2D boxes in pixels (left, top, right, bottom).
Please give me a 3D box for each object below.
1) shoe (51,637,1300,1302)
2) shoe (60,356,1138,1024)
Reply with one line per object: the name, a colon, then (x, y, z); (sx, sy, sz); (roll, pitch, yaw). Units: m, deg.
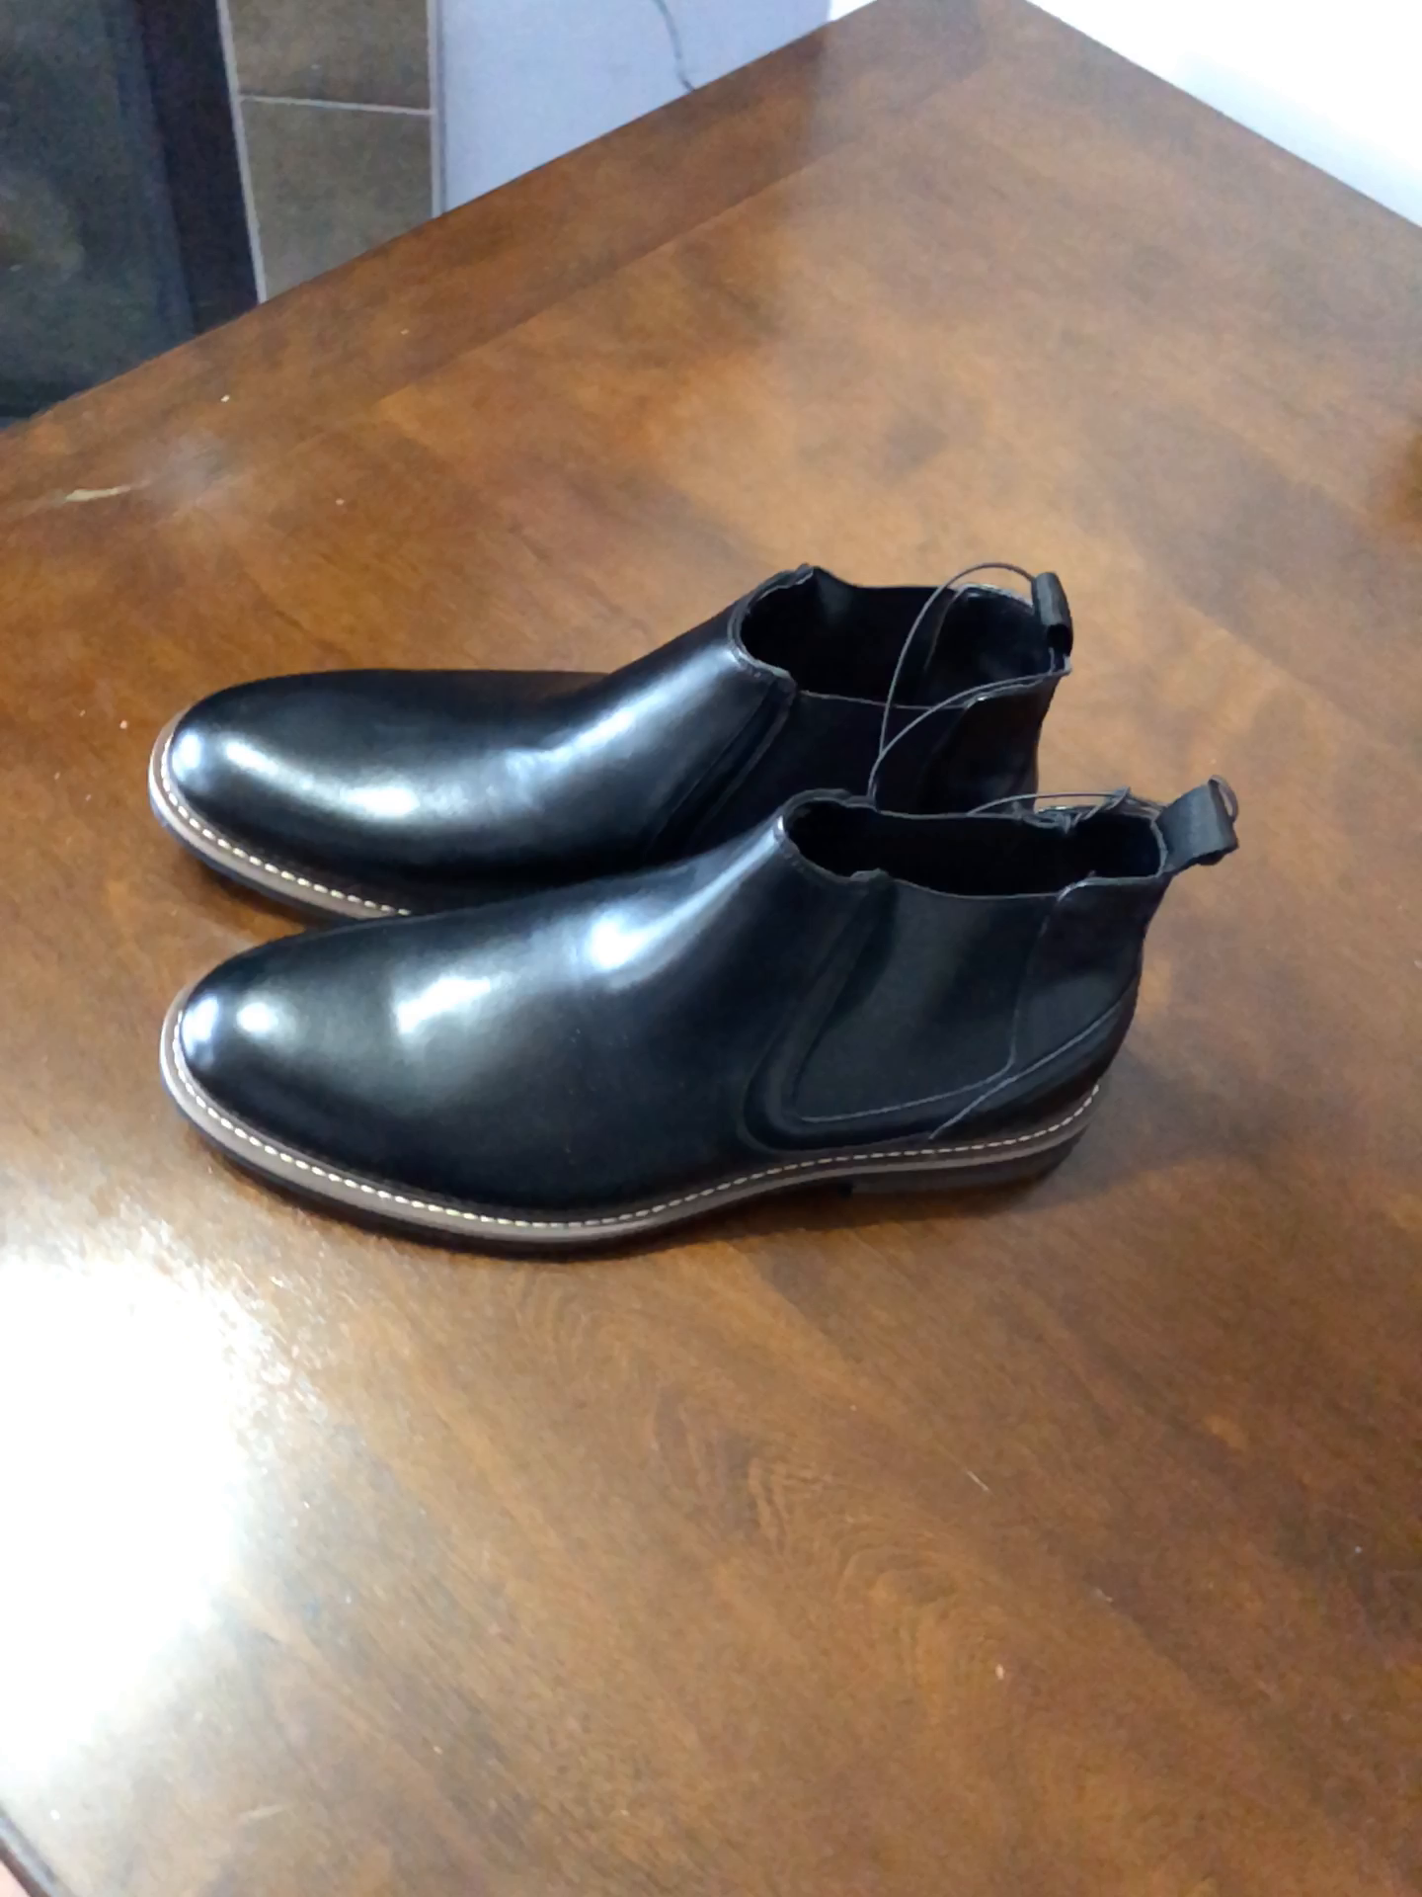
shoe: (-0.016, 0.009, 0.475); (0.300, 0.170, 0.120); (-2, 59, -10)
shoe: (-0.037, -0.077, 0.540); (0.300, 0.170, 0.120); (4, 58, -6)
